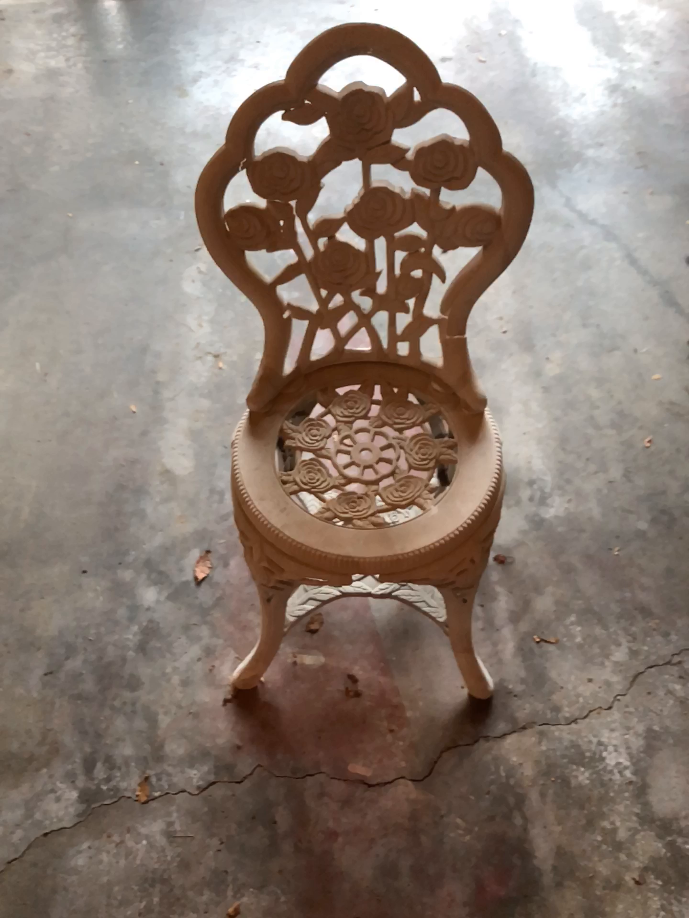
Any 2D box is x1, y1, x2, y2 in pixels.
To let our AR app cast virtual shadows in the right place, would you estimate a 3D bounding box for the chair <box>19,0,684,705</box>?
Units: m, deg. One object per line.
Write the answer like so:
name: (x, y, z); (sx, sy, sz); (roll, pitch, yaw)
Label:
chair: (0.021, -0.048, 1.071); (0.490, 0.899, 0.500); (0, 55, 2)
